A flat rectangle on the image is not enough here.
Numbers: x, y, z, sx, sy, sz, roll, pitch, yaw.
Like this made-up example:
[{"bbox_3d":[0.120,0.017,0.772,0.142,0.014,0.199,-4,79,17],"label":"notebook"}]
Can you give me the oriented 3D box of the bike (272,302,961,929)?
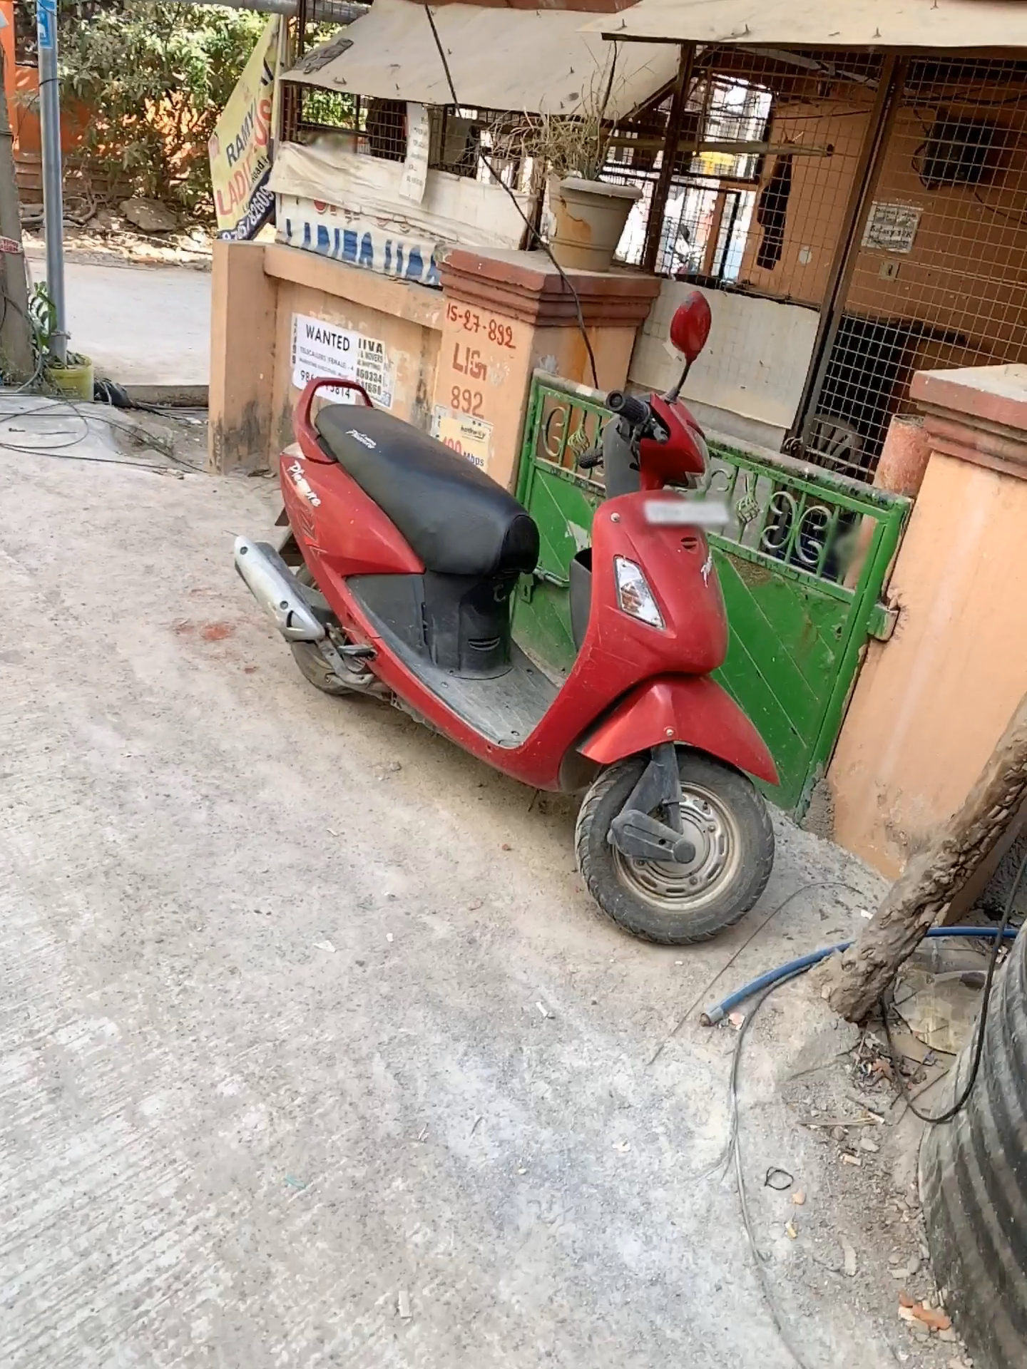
[{"bbox_3d":[0.134,-0.257,2.386,1.273,0.916,0.619,27,32,31],"label":"bike"}]
